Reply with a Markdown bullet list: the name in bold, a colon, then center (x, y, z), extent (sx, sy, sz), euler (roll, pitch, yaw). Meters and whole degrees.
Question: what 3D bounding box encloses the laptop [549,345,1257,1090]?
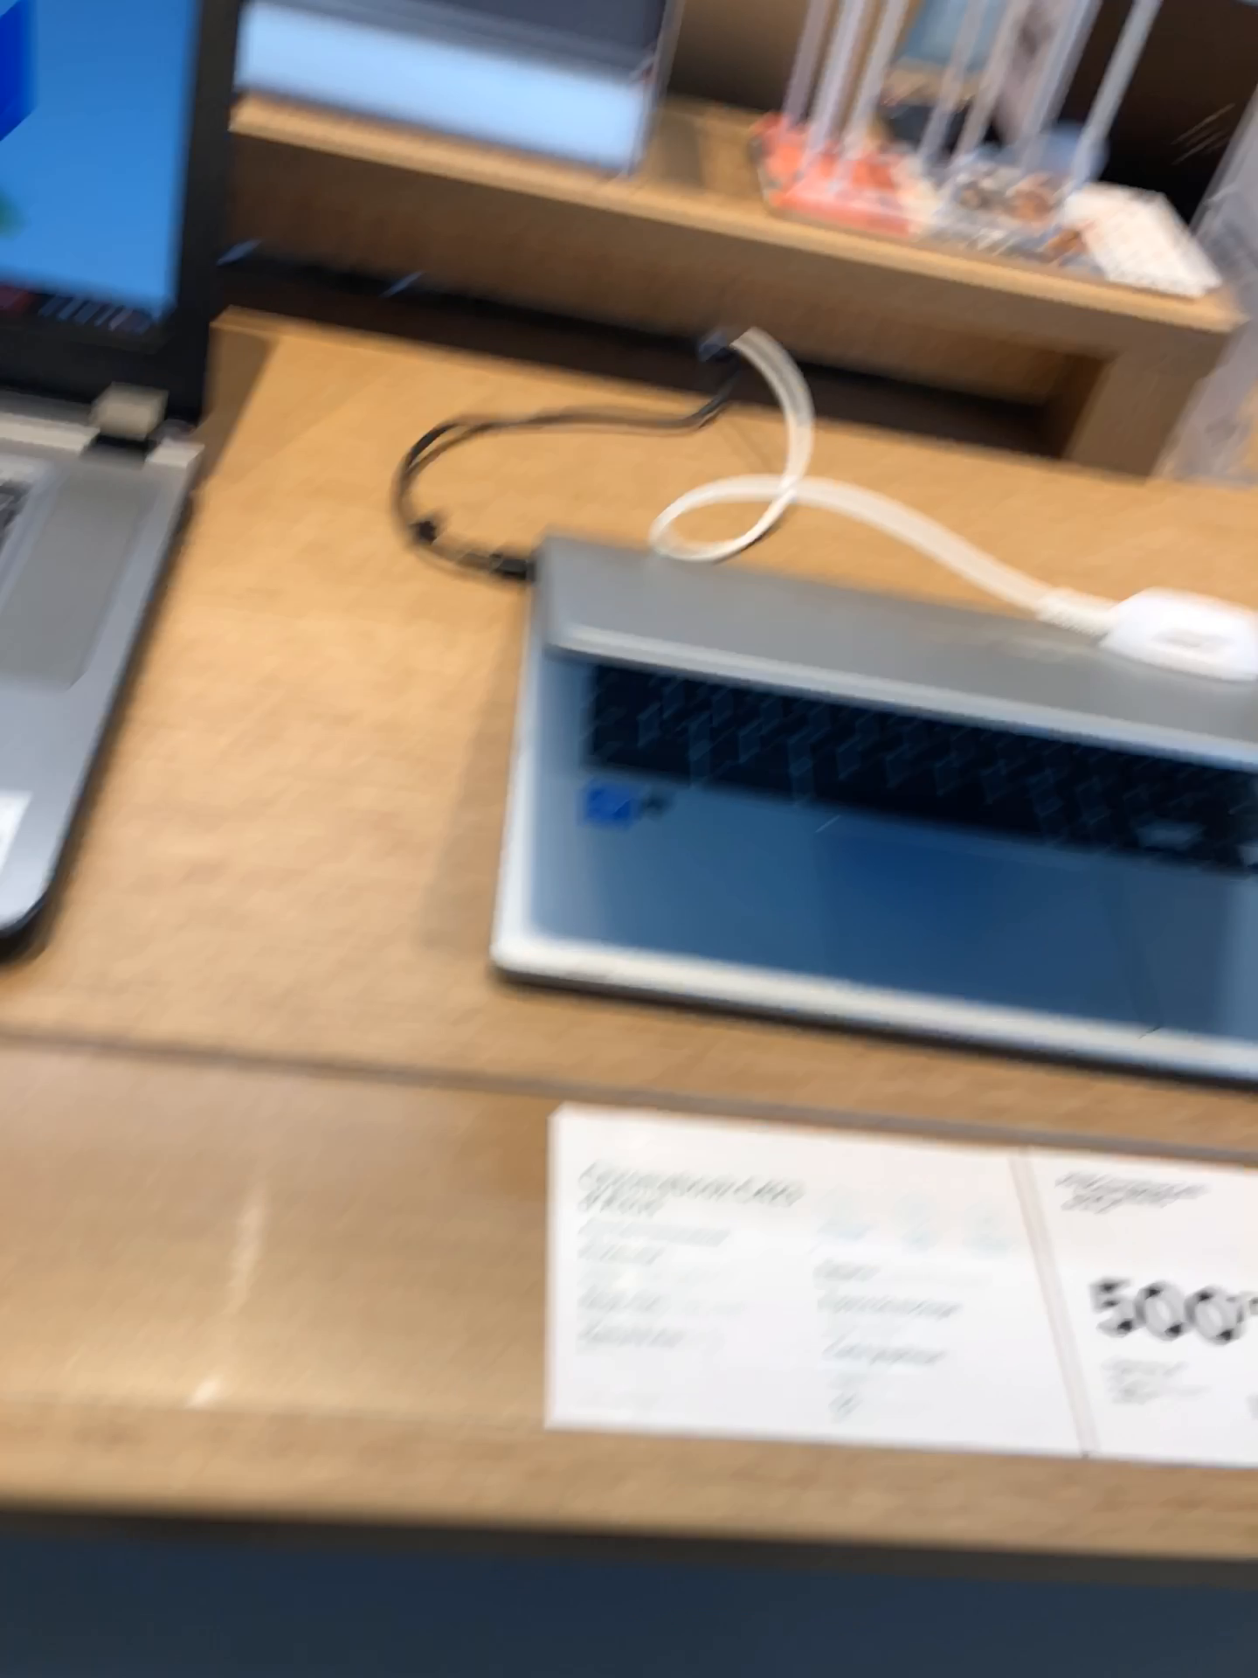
- **laptop**: center (0.136, -0.046, 0.468), extent (0.304, 0.080, 0.206), euler (10, 47, -9)
